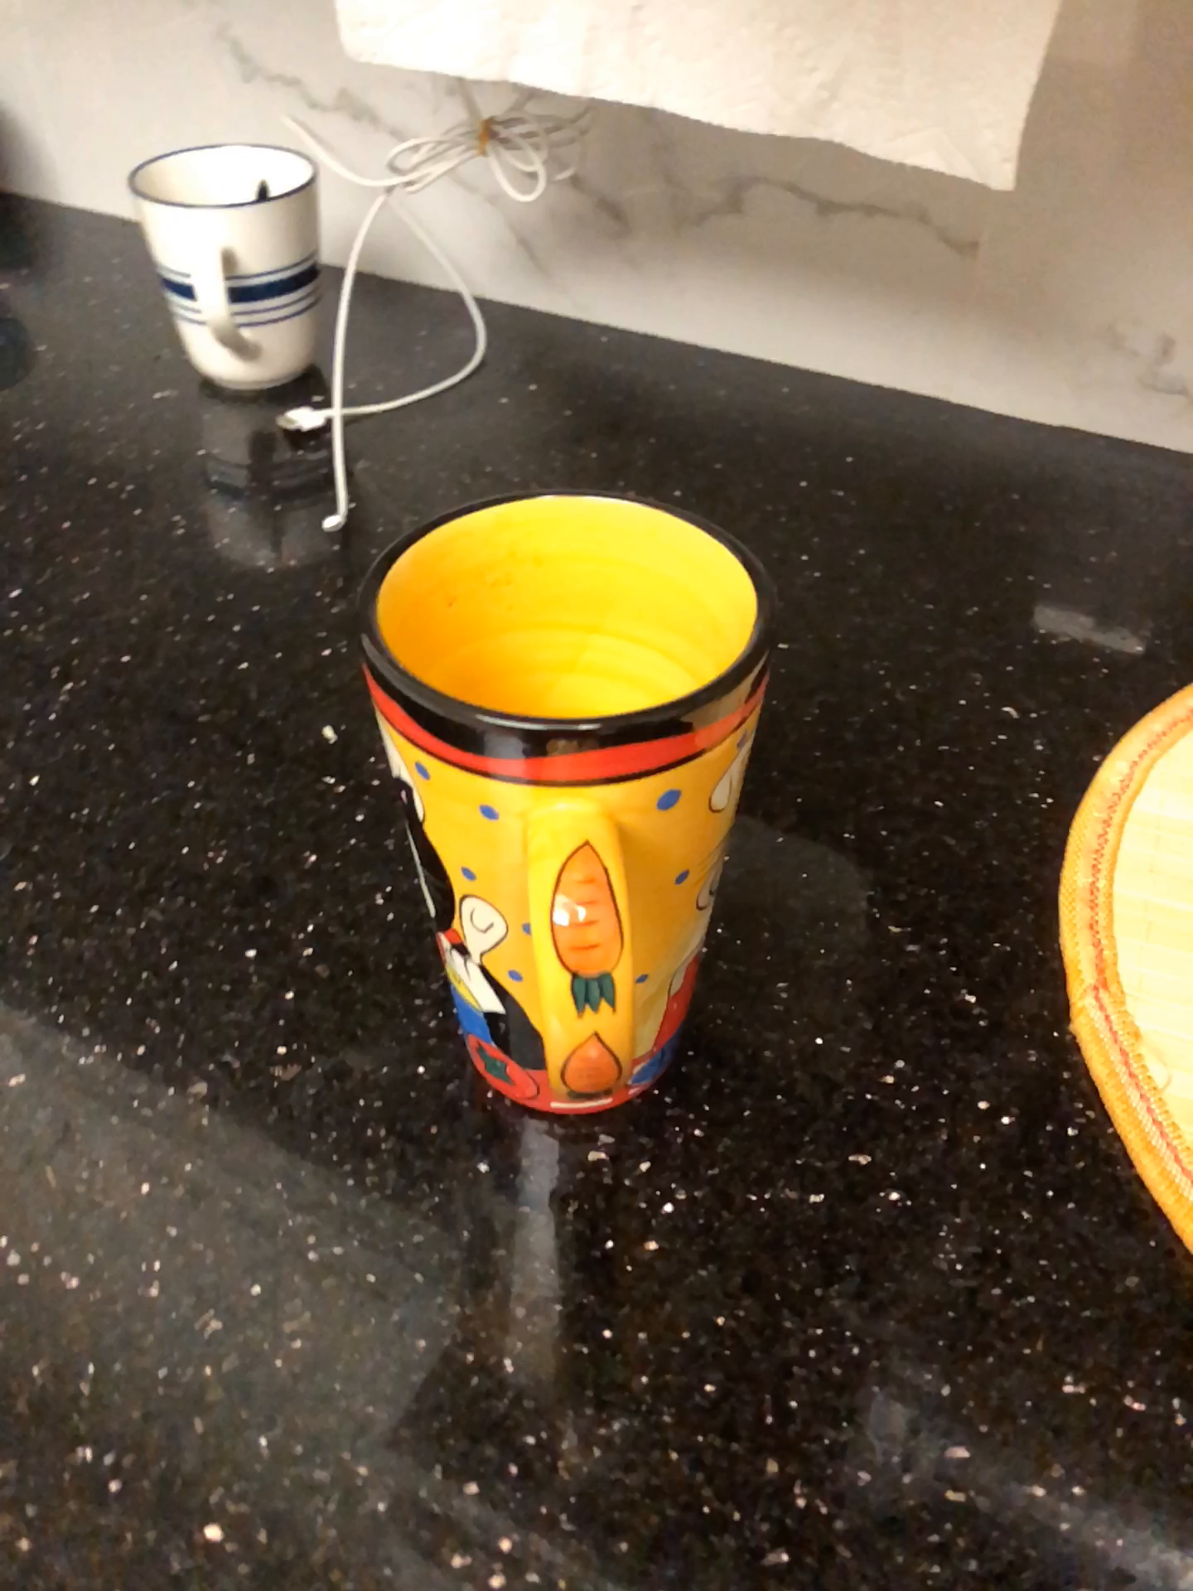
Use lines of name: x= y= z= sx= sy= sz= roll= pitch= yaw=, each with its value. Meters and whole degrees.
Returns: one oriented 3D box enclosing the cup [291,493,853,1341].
cup: x=-0.015 y=0.026 z=0.316 sx=0.090 sy=0.139 sz=0.131 roll=-8 pitch=42 yaw=-10
